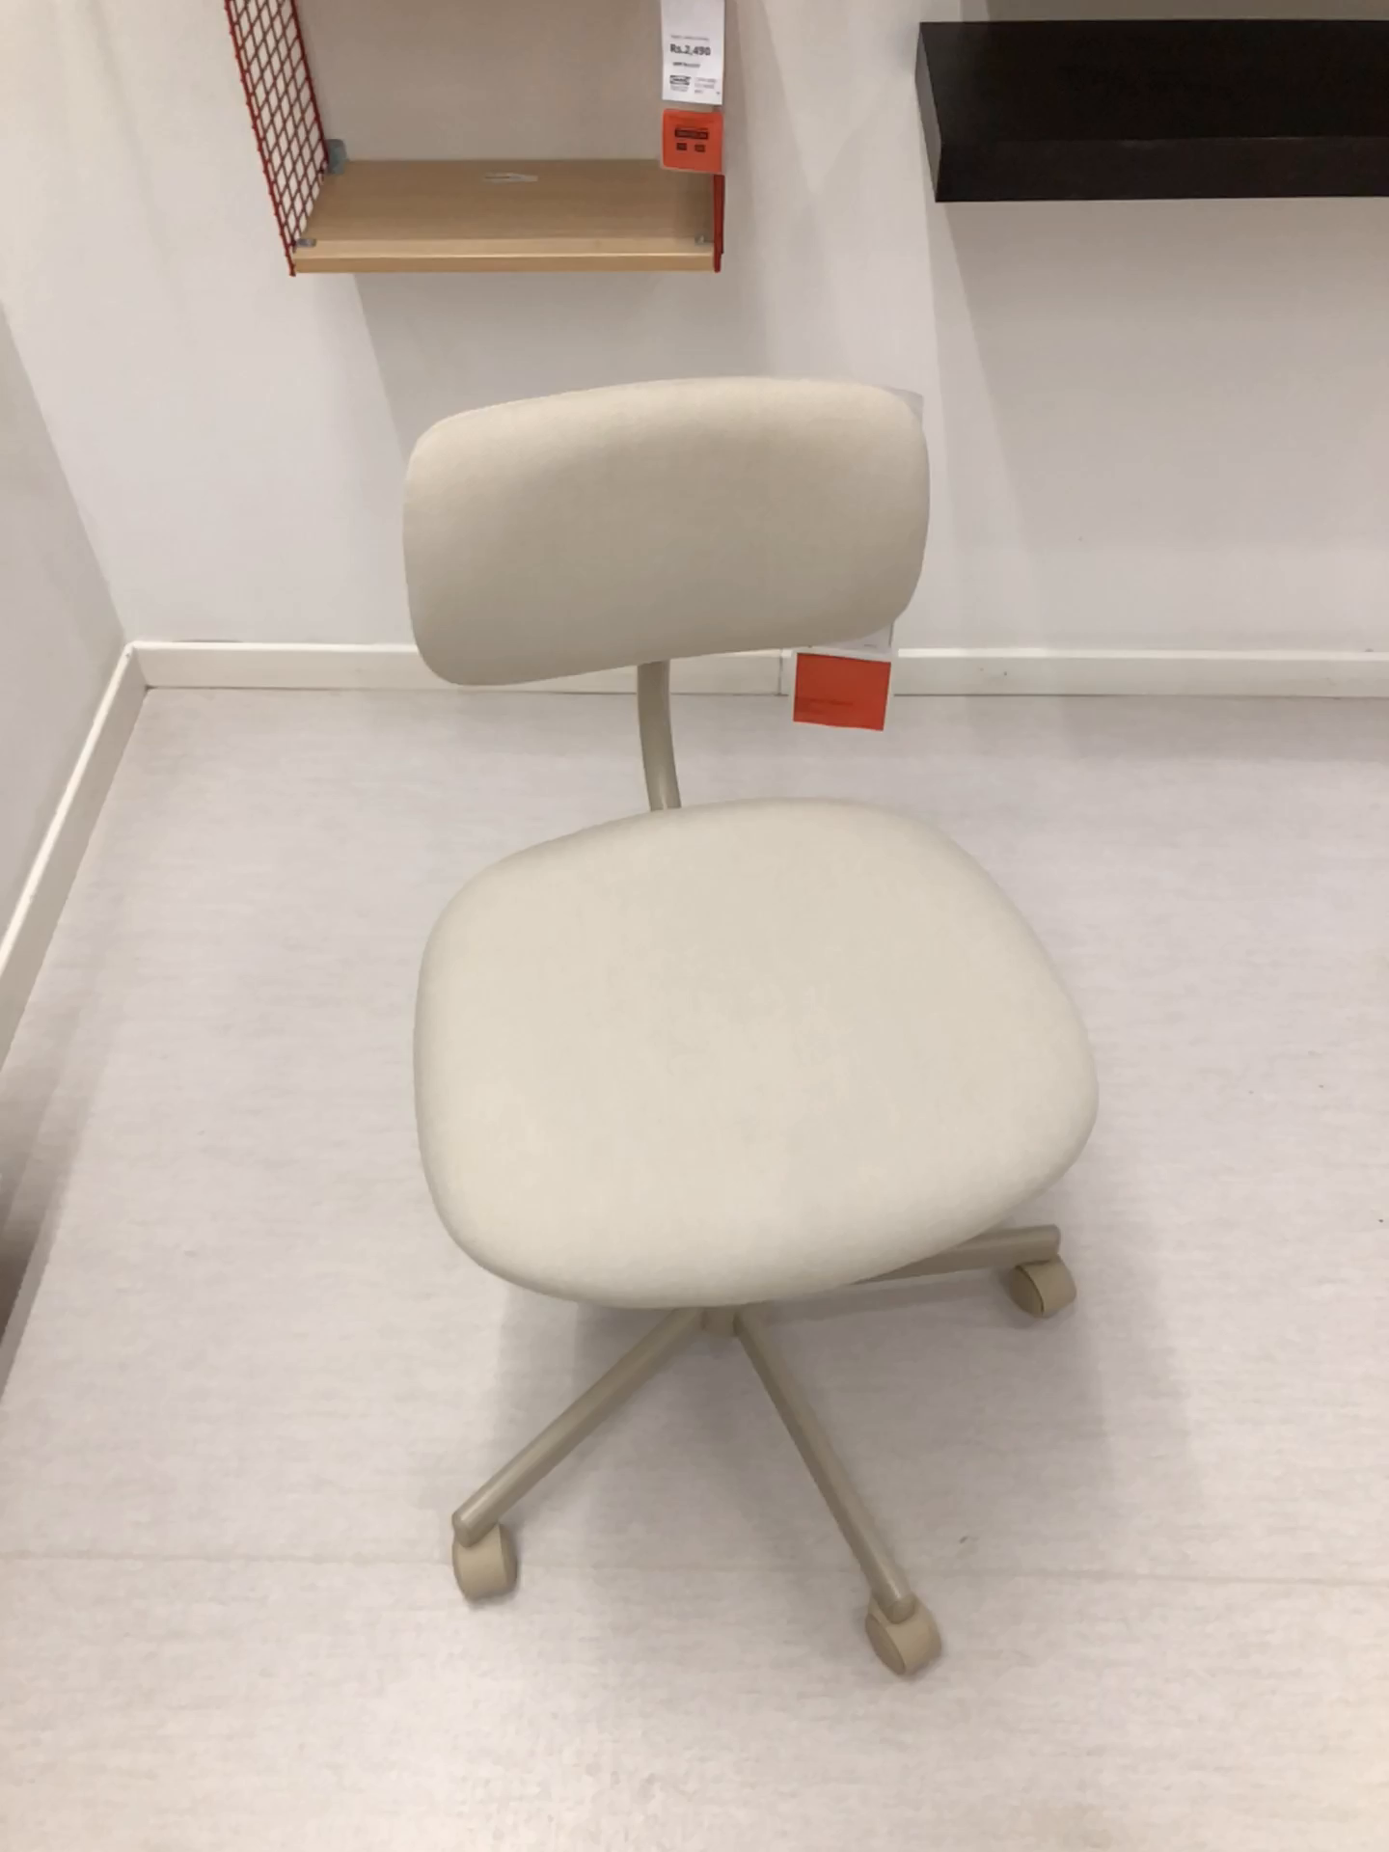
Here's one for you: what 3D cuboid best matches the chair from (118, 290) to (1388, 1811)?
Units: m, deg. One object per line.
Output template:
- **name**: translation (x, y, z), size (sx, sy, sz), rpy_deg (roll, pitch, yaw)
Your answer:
- **chair**: translation (0.035, 0.108, 1.116), size (0.640, 0.765, 0.694), rpy_deg (-10, 50, -7)
